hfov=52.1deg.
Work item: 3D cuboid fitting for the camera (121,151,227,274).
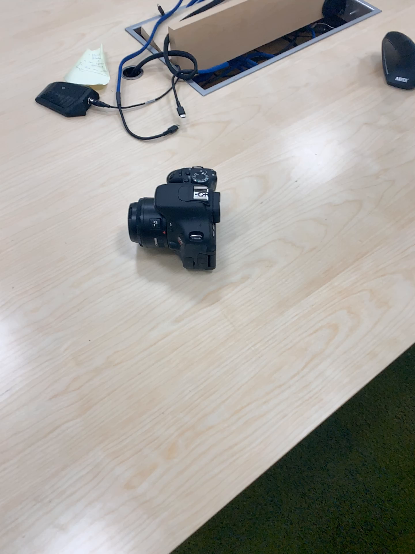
[{"bbox_3d":[-0.037,-0.083,0.553,0.120,0.090,0.130,0,59,1],"label":"camera"}]
